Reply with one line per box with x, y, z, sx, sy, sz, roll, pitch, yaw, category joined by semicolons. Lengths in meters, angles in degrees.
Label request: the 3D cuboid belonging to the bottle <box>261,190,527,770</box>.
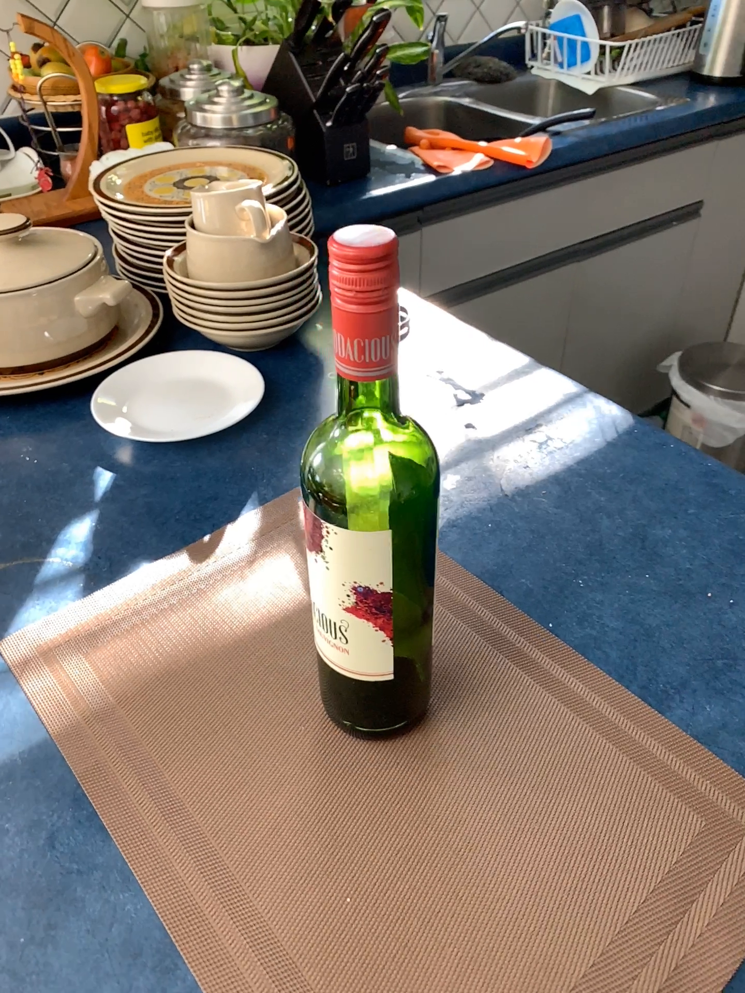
0.008;0.011;0.398;0.080;0.297;0.081;-1;39;1;bottle
